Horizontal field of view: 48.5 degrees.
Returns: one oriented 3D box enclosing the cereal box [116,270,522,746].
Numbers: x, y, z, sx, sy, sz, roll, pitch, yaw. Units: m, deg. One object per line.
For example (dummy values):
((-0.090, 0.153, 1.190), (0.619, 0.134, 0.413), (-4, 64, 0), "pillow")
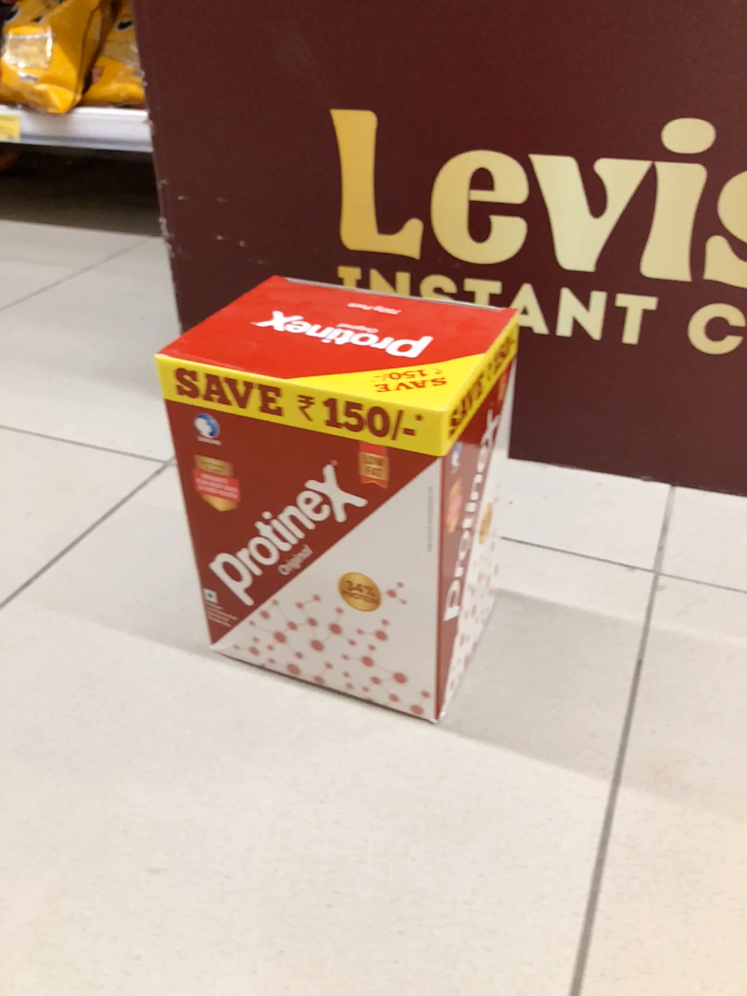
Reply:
((-0.021, 0.000, 0.458), (0.160, 0.199, 0.121), (13, 36, 20), "cereal box")
